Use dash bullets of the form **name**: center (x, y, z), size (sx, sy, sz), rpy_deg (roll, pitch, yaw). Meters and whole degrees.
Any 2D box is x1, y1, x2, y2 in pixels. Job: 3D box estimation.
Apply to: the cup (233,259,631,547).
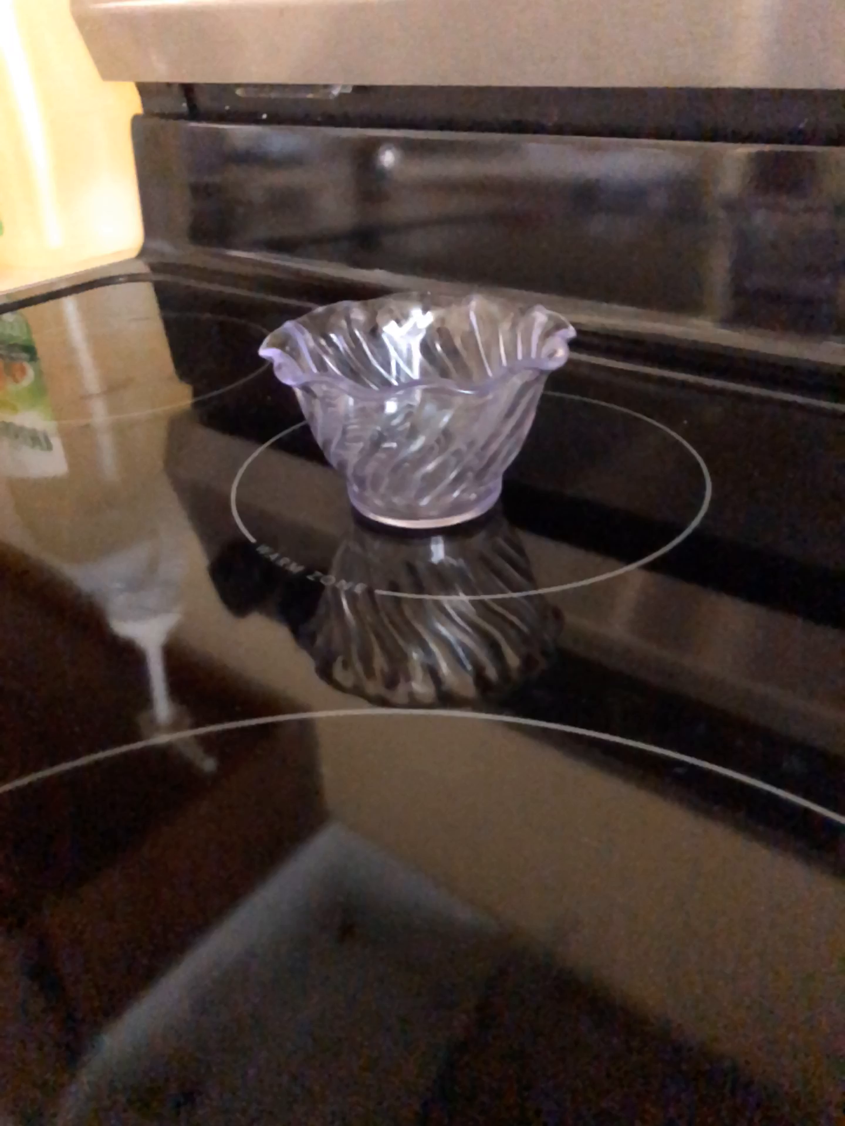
- **cup**: center (0.003, -0.055, 0.294), size (0.101, 0.052, 0.100), rpy_deg (-2, 30, 1)
